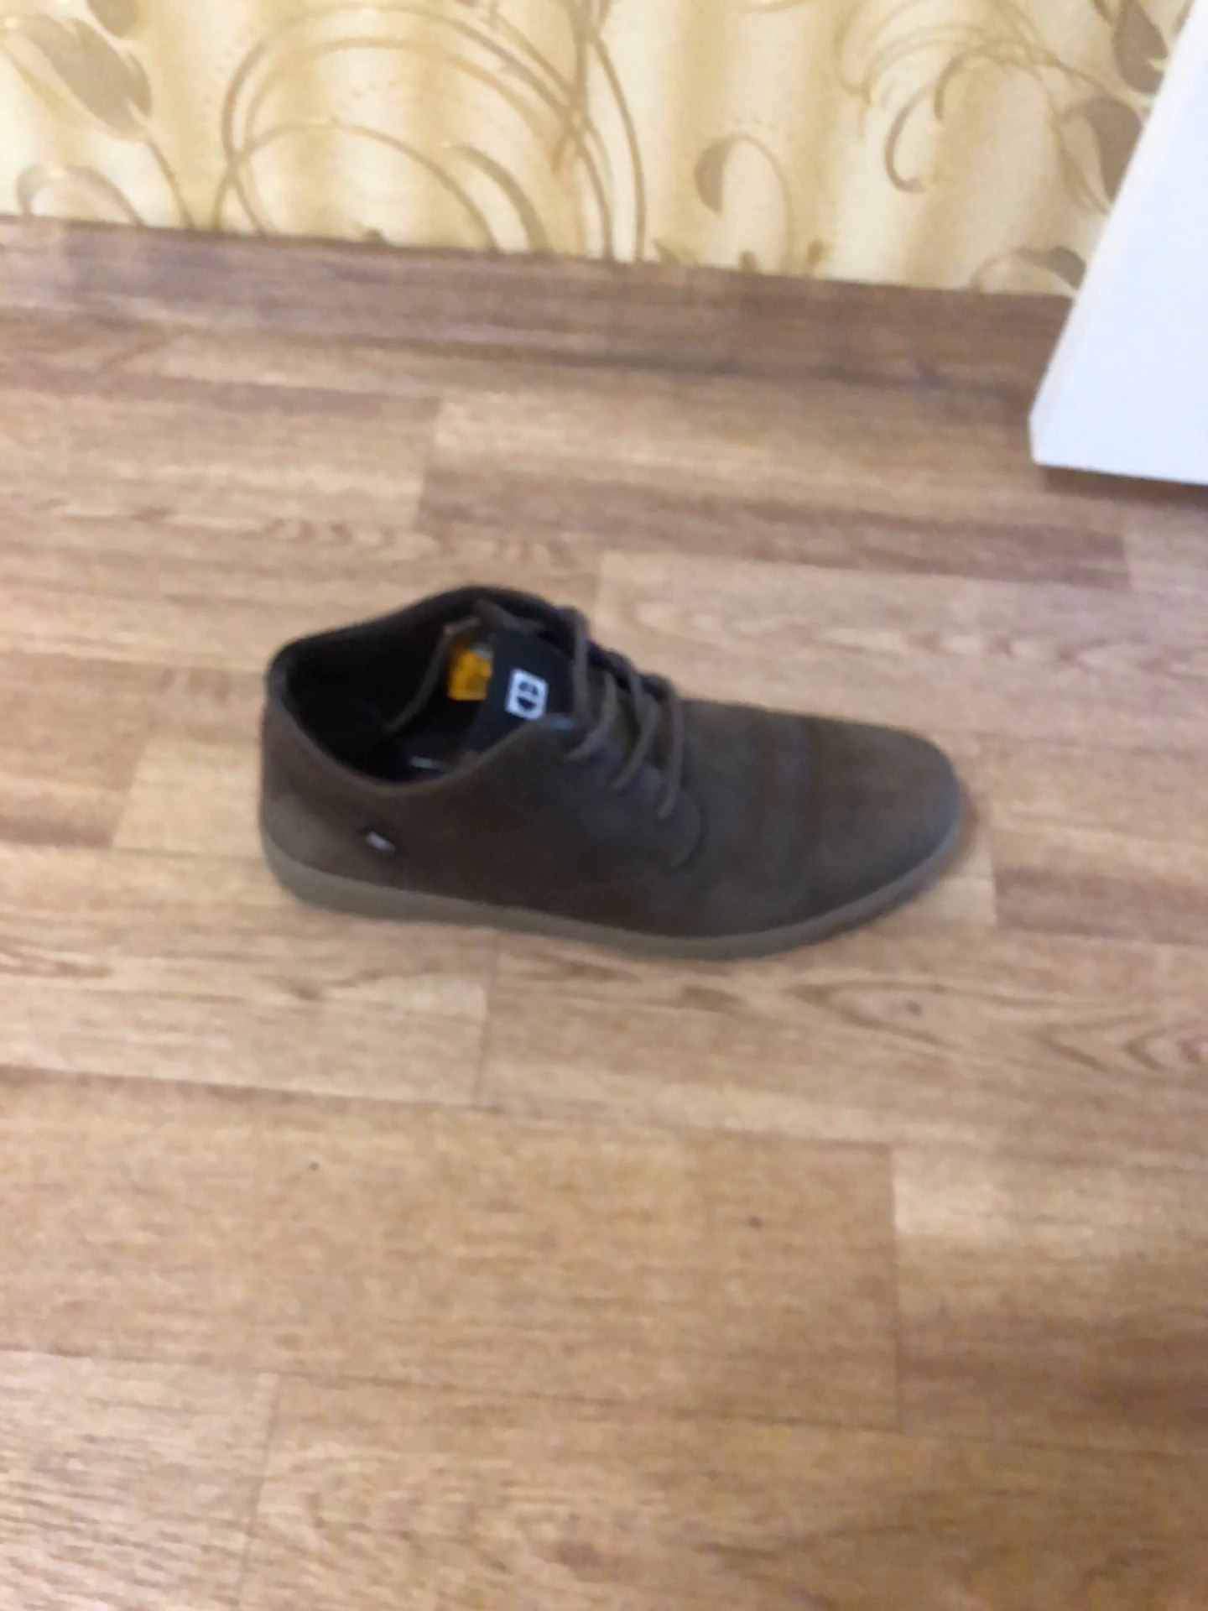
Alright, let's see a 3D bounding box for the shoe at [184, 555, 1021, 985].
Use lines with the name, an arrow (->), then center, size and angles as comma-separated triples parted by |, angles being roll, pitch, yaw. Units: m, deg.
shoe -> 0.001, -0.011, 0.505 | 0.270, 0.100, 0.100 | 5, 56, 0
